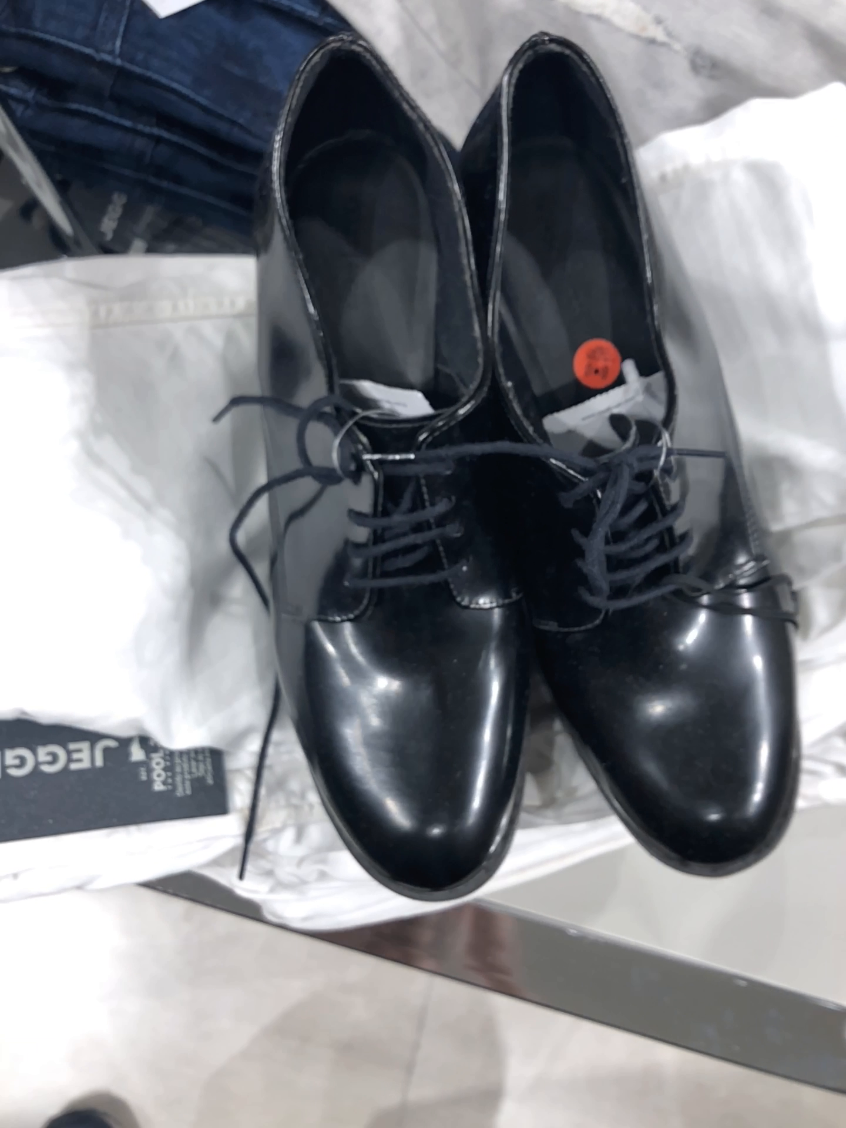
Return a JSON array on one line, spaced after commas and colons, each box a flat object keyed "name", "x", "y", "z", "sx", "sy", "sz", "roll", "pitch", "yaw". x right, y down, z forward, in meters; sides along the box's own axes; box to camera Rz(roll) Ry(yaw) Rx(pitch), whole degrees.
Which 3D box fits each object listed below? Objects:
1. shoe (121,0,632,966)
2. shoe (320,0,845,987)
[{"name": "shoe", "x": -0.016, "y": -0.022, "z": 0.318, "sx": 0.100, "sy": 0.160, "sz": 0.260, "roll": -9, "pitch": 73, "yaw": 2}, {"name": "shoe", "x": 0.059, "y": -0.024, "z": 0.311, "sx": 0.100, "sy": 0.150, "sz": 0.260, "roll": -16, "pitch": 74, "yaw": 1}]
